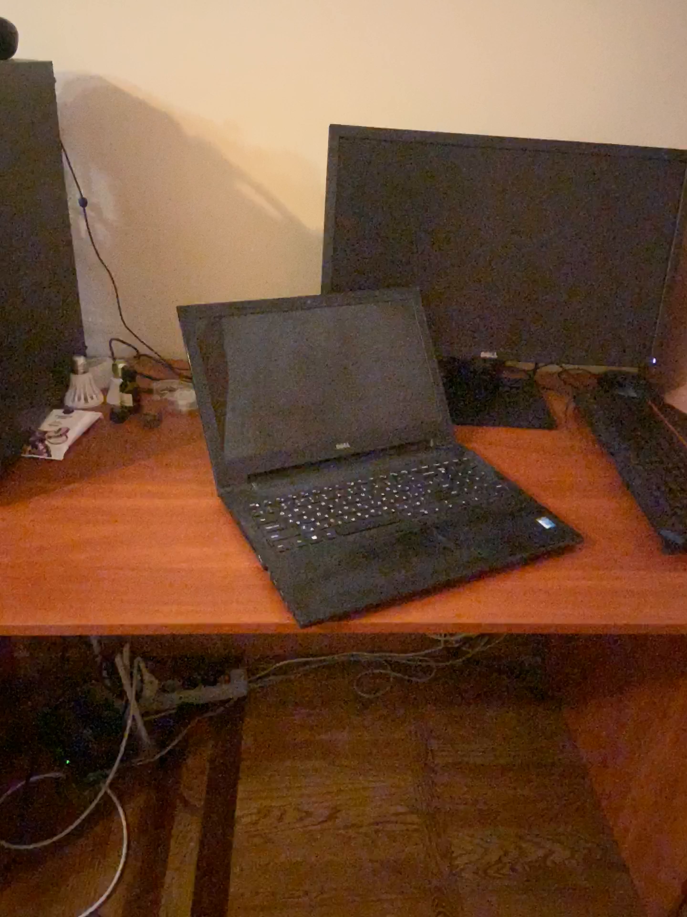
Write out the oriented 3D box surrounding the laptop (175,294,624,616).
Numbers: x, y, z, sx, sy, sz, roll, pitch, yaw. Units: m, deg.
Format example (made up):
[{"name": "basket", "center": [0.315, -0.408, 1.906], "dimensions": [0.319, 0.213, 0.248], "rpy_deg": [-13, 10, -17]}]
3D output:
[{"name": "laptop", "center": [0.031, -0.047, 0.832], "dimensions": [0.356, 0.181, 0.394], "rpy_deg": [-10, 31, -25]}]
